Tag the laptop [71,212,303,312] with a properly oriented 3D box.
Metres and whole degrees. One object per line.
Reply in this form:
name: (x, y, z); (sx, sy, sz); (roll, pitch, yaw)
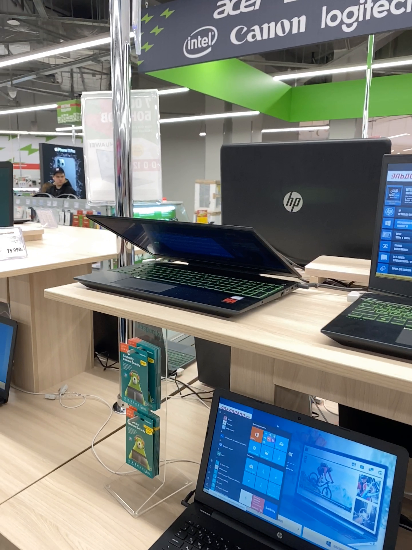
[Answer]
laptop: (-0.038, -0.047, 0.798); (0.365, 0.115, 0.244); (9, 14, 33)
